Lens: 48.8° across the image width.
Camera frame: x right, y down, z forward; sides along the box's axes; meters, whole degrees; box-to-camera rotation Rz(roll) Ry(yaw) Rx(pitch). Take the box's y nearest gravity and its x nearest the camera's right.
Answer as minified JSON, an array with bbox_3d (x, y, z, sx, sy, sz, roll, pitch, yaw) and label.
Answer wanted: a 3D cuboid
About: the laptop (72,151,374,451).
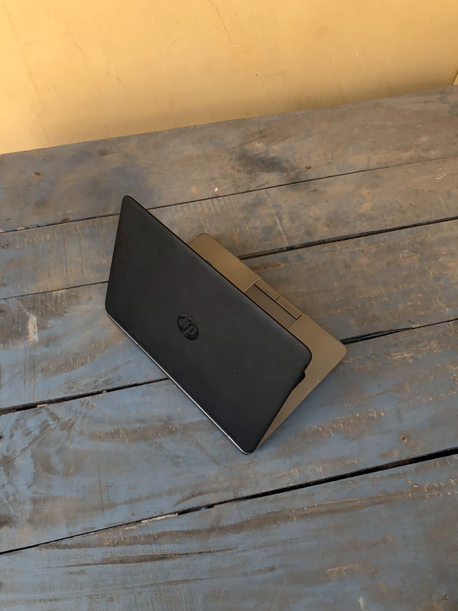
[{"bbox_3d":[-0.012,-0.008,0.708,0.210,0.196,0.317,-41,67,-19],"label":"laptop"}]
